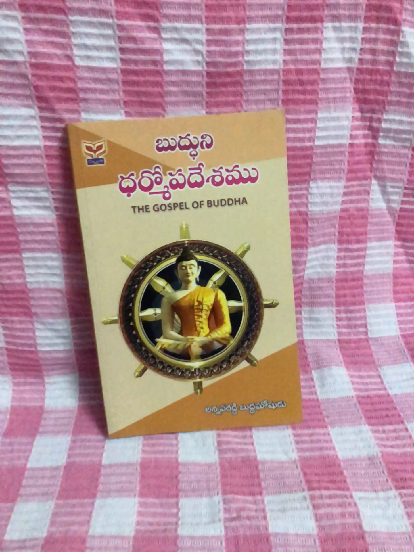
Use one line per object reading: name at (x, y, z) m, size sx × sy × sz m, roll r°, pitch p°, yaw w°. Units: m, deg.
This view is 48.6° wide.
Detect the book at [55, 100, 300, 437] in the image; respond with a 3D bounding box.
book at (-0.015, 0.000, 0.306) m, size 0.140 × 0.210 × 0.020 m, roll -4°, pitch 8°, yaw 1°
